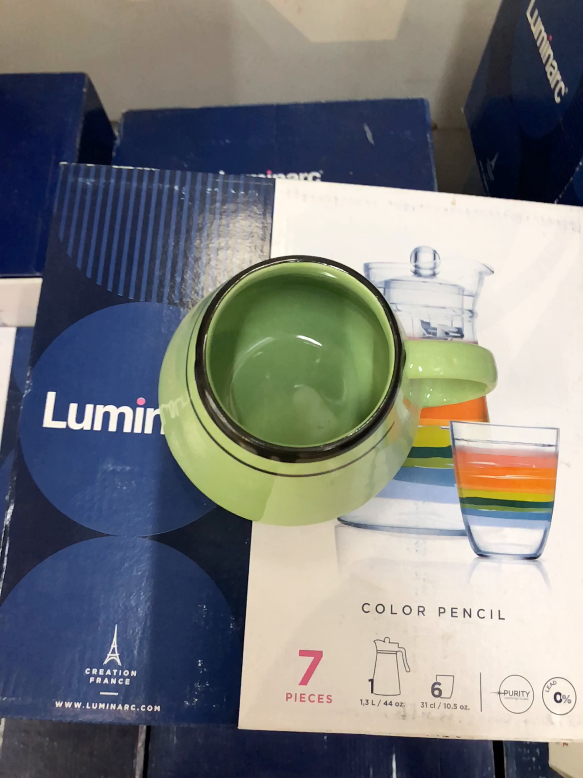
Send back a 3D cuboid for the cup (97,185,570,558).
[{"bbox_3d":[0.016,-0.003,0.244,0.140,0.070,0.110,5,69,1],"label":"cup"}]
